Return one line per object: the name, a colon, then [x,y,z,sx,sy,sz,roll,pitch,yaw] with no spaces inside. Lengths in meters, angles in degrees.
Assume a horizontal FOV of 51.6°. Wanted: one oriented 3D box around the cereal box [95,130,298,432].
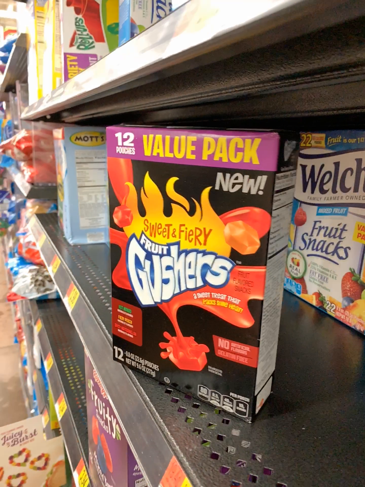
cereal box: [0.004,0.020,0.319,0.150,0.219,0.050,12,20,32]
